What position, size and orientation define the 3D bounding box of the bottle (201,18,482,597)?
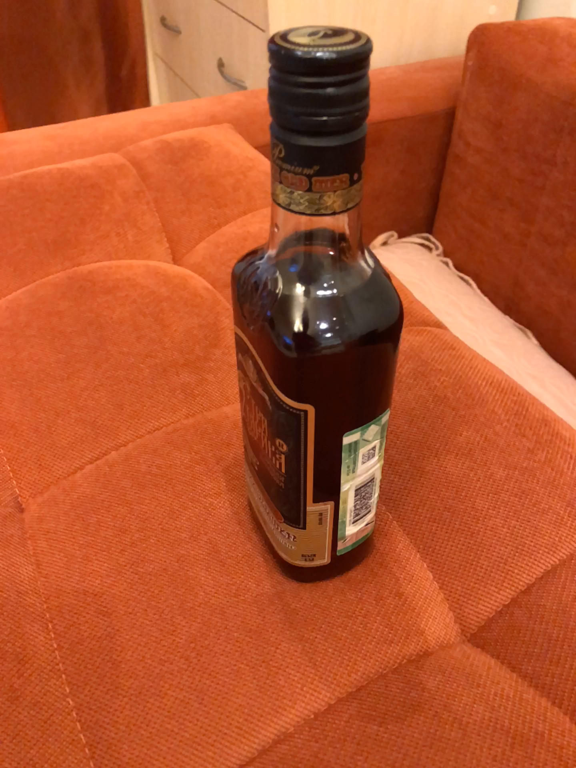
[{"bbox_3d":[0.013,-0.012,0.271,0.056,0.237,0.074,-18,45,-18],"label":"bottle"}]
